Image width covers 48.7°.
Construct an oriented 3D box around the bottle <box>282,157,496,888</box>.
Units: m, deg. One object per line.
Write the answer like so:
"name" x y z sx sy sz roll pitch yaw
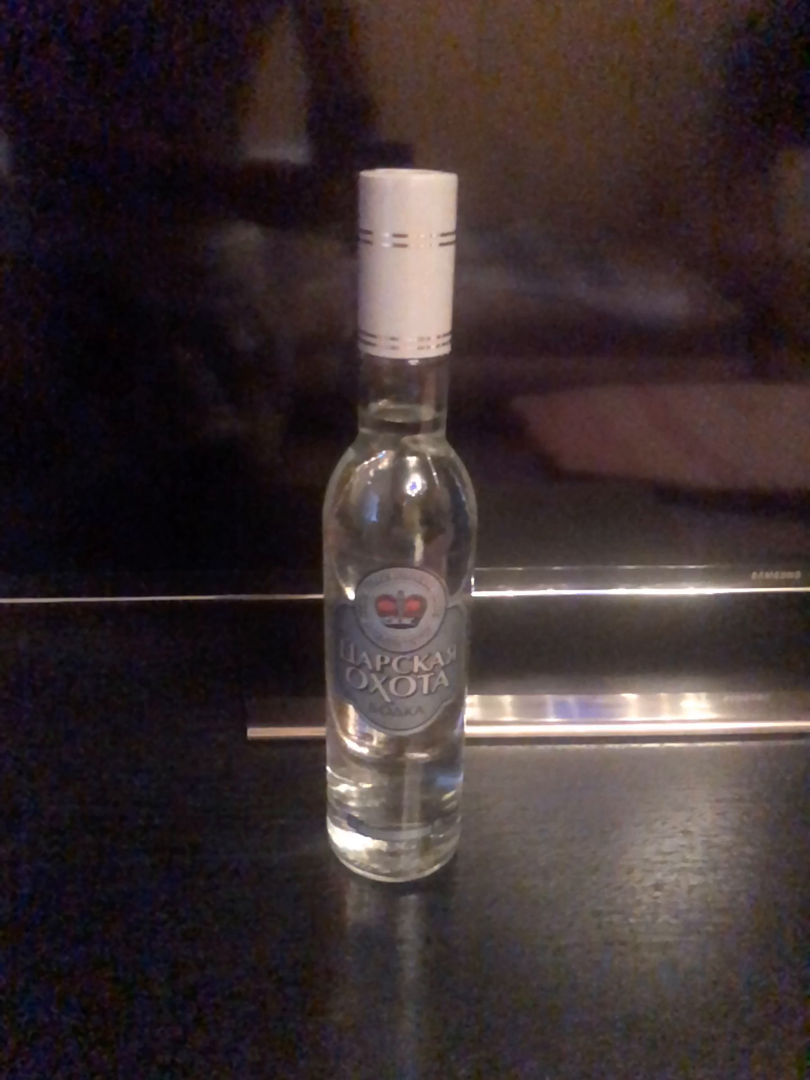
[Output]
"bottle" -0.005 0.005 0.359 0.064 0.290 0.067 0 25 0
